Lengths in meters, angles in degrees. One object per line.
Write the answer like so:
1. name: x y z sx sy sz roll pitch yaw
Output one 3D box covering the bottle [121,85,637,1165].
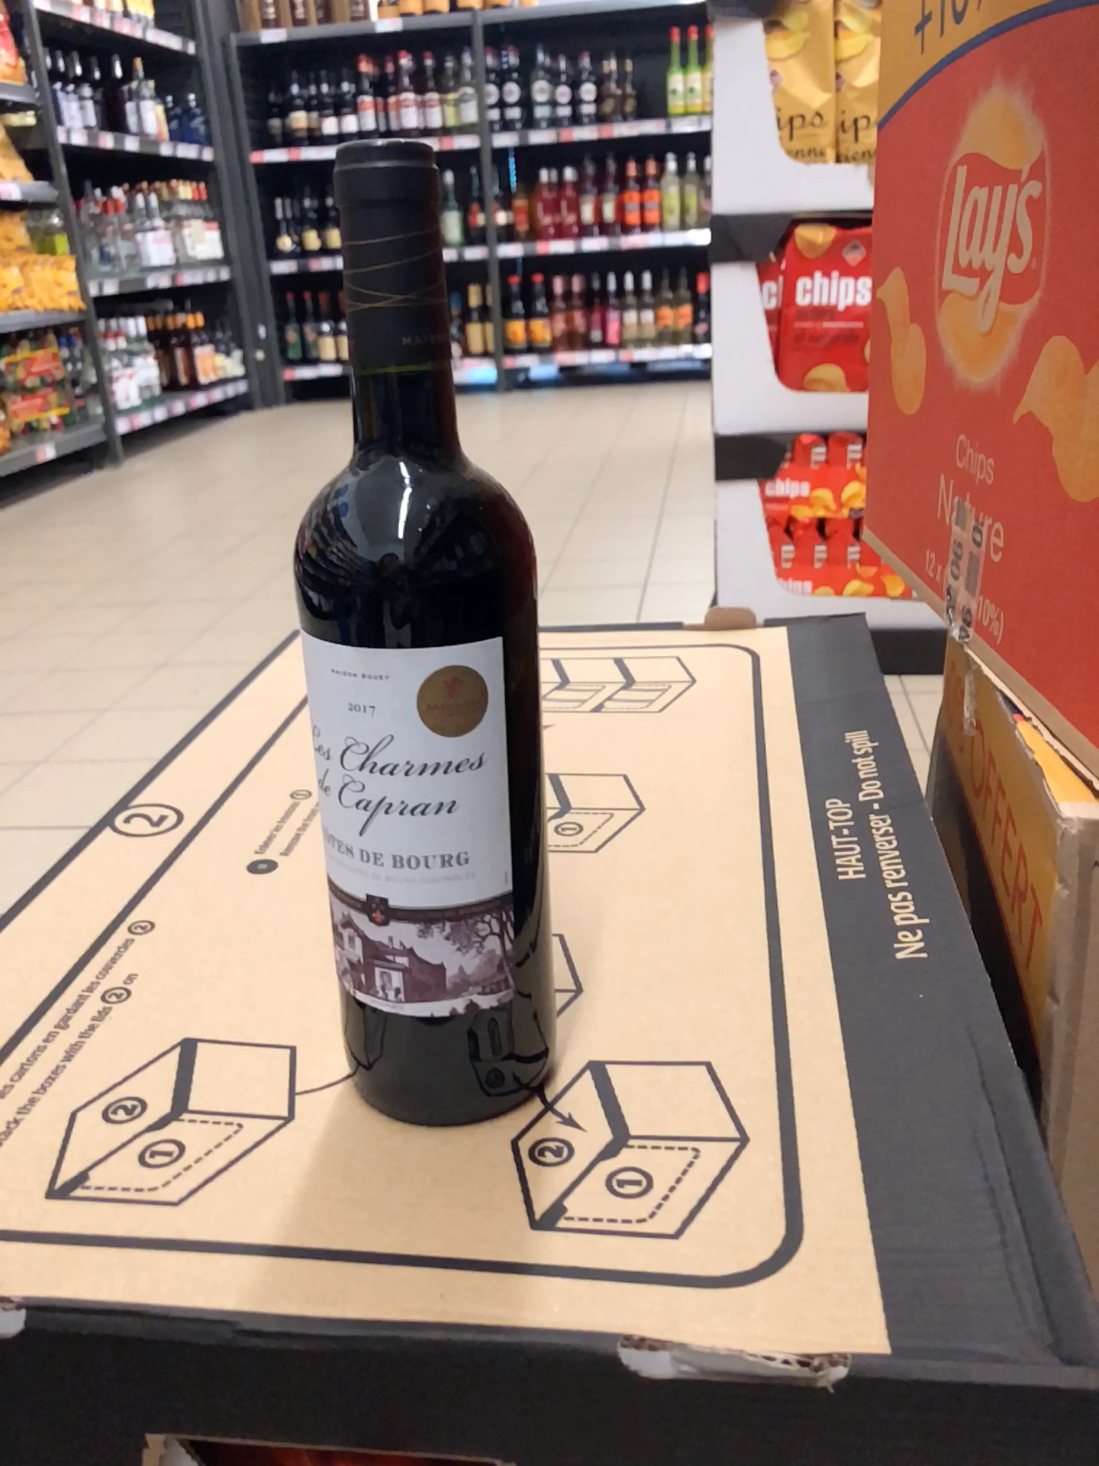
1. bottle: -0.035 -0.025 0.366 0.090 0.289 0.091 -4 21 1
